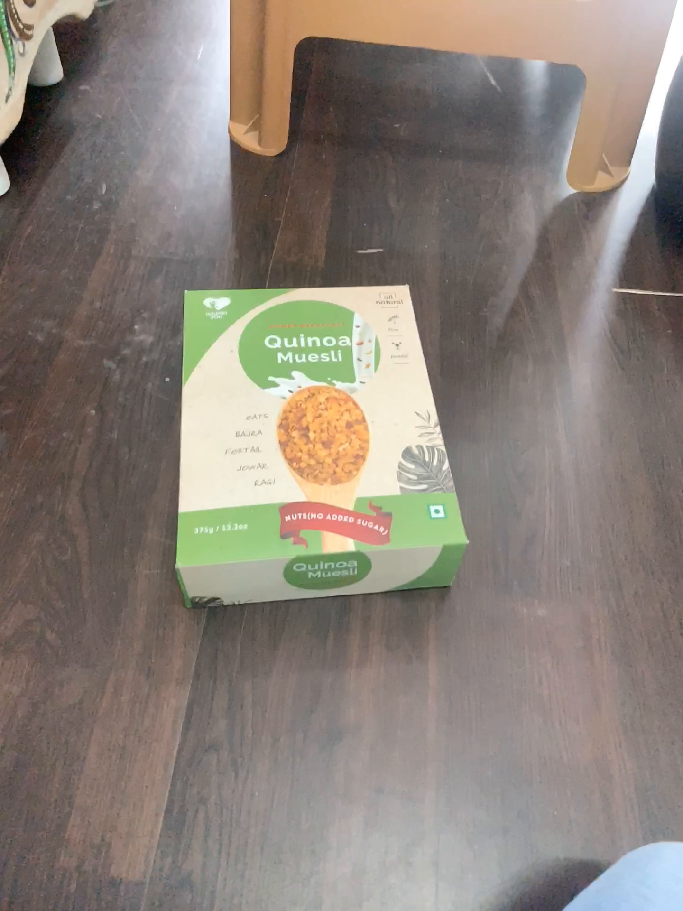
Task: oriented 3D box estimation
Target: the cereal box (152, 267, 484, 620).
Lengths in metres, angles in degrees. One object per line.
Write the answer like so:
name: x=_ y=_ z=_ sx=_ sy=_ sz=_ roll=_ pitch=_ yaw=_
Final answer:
cereal box: x=-0.022 y=-0.016 z=0.443 sx=0.170 sy=0.070 sz=0.211 roll=-4 pitch=57 yaw=-5
